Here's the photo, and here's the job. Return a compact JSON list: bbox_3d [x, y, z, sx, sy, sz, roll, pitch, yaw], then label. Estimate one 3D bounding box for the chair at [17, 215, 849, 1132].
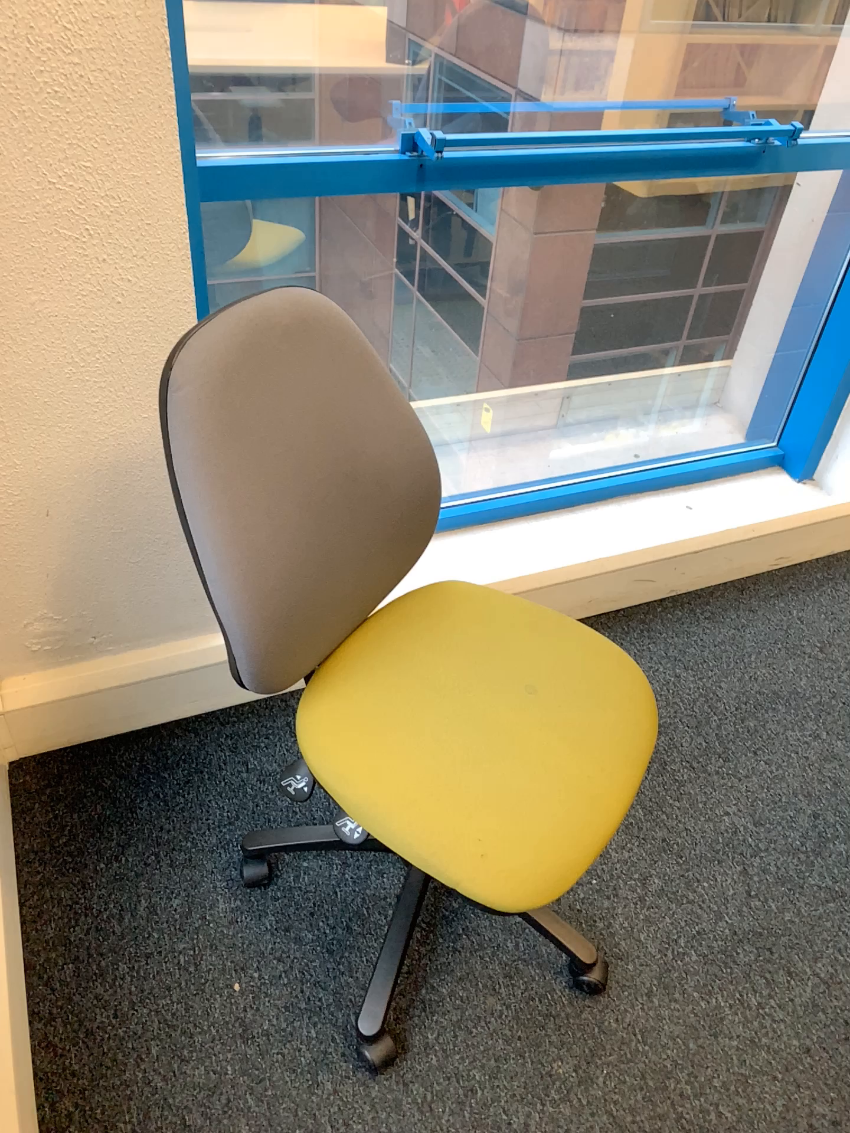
[{"bbox_3d":[0.079,0.150,1.146,0.679,0.876,0.698,24,43,20],"label":"chair"}]
